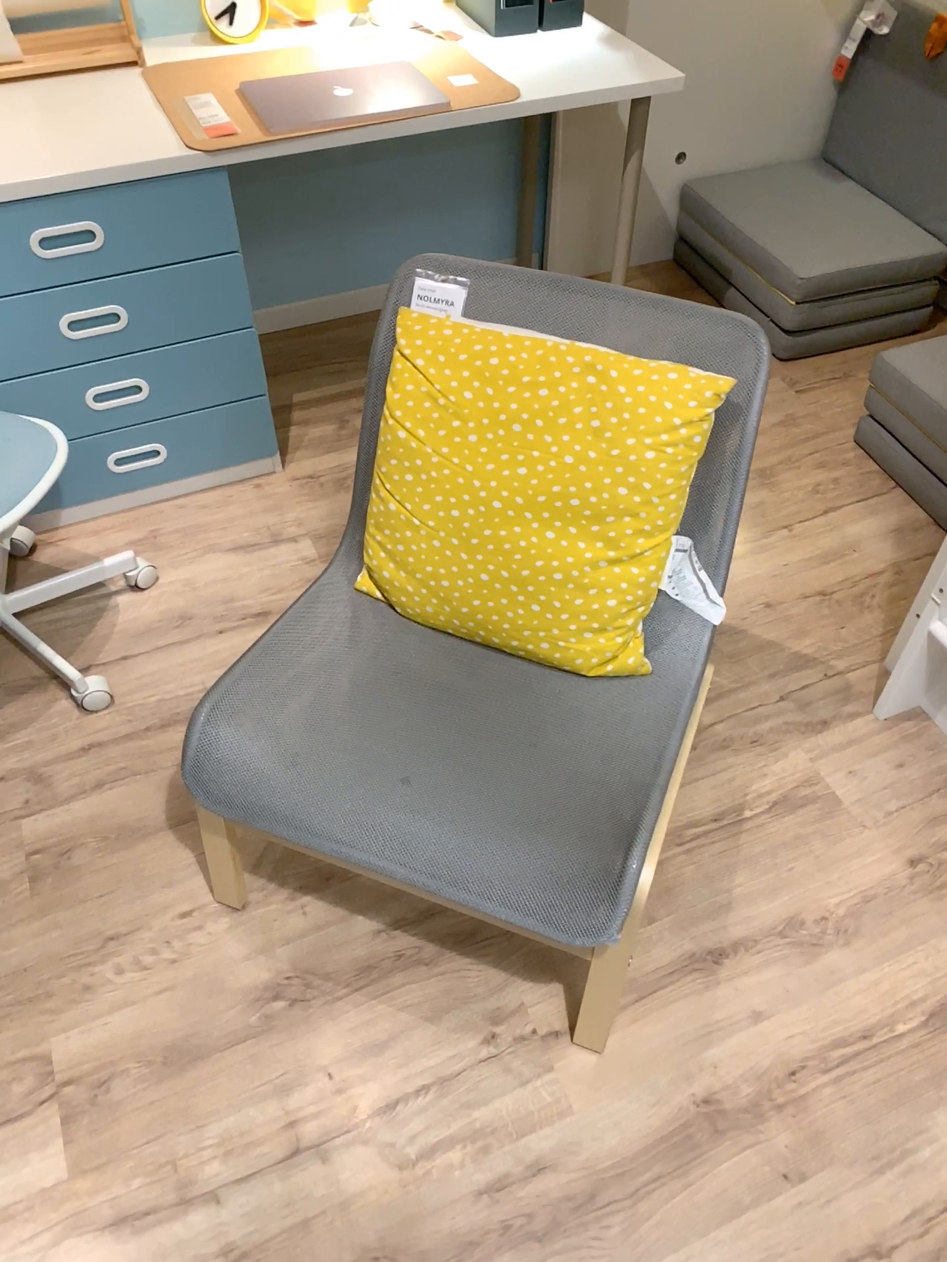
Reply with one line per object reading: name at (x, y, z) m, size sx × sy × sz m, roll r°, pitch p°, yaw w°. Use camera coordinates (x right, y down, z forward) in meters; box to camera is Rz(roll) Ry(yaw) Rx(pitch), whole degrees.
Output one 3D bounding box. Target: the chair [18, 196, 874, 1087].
chair at (0.032, -0.006, 1.196) m, size 0.630 × 0.708 × 0.672 m, roll 16°, pitch 48°, yaw 14°
